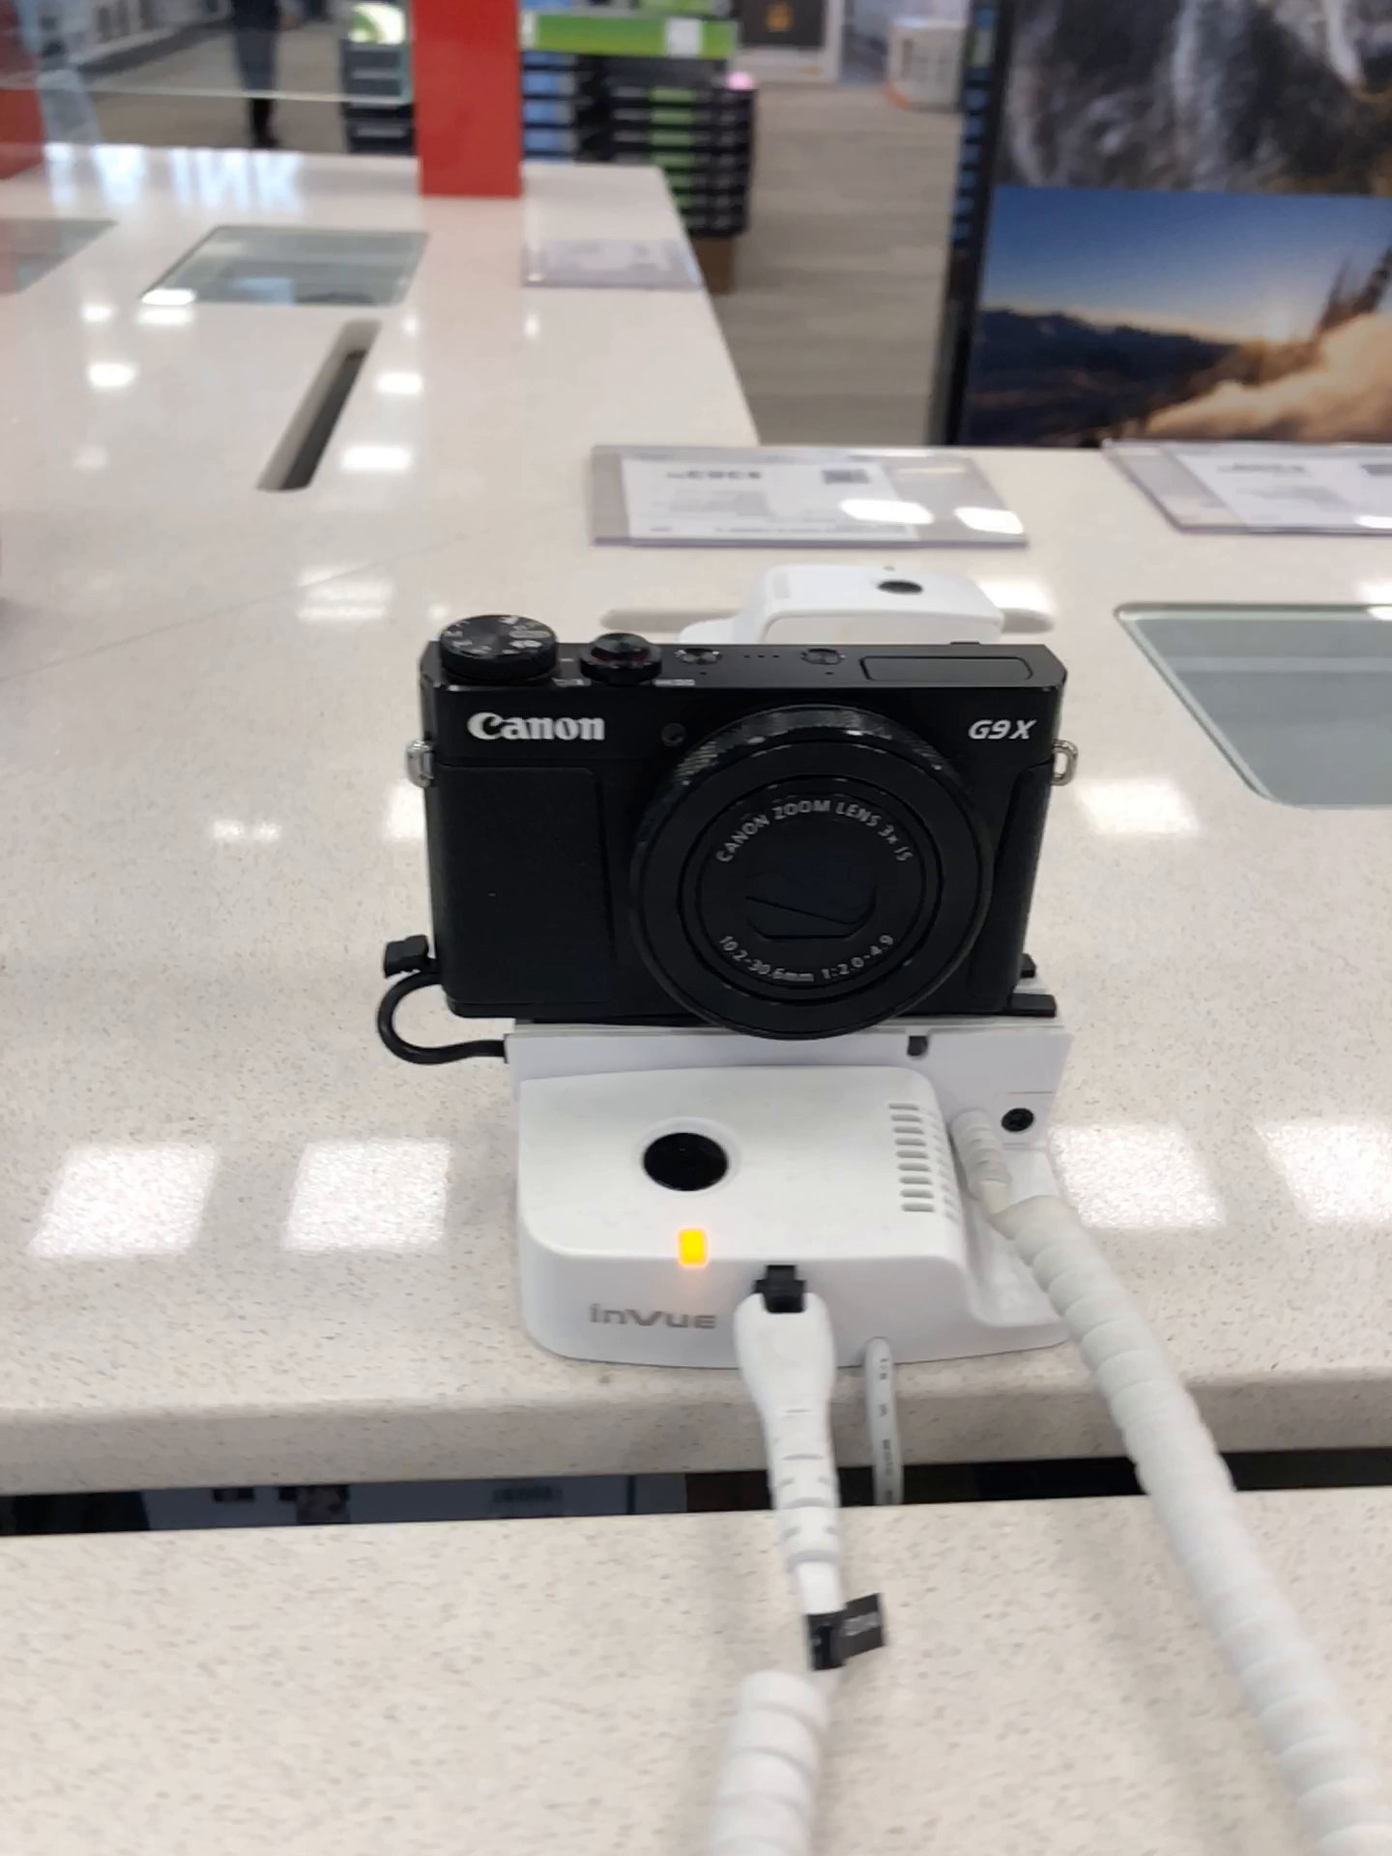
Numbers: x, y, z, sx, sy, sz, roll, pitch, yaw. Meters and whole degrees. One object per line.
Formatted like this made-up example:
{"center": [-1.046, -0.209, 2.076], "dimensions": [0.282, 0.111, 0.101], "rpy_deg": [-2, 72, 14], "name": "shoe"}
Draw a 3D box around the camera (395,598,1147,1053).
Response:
{"center": [0.009, -0.015, 0.234], "dimensions": [0.100, 0.060, 0.030], "rpy_deg": [0, 32, -5], "name": "camera"}
